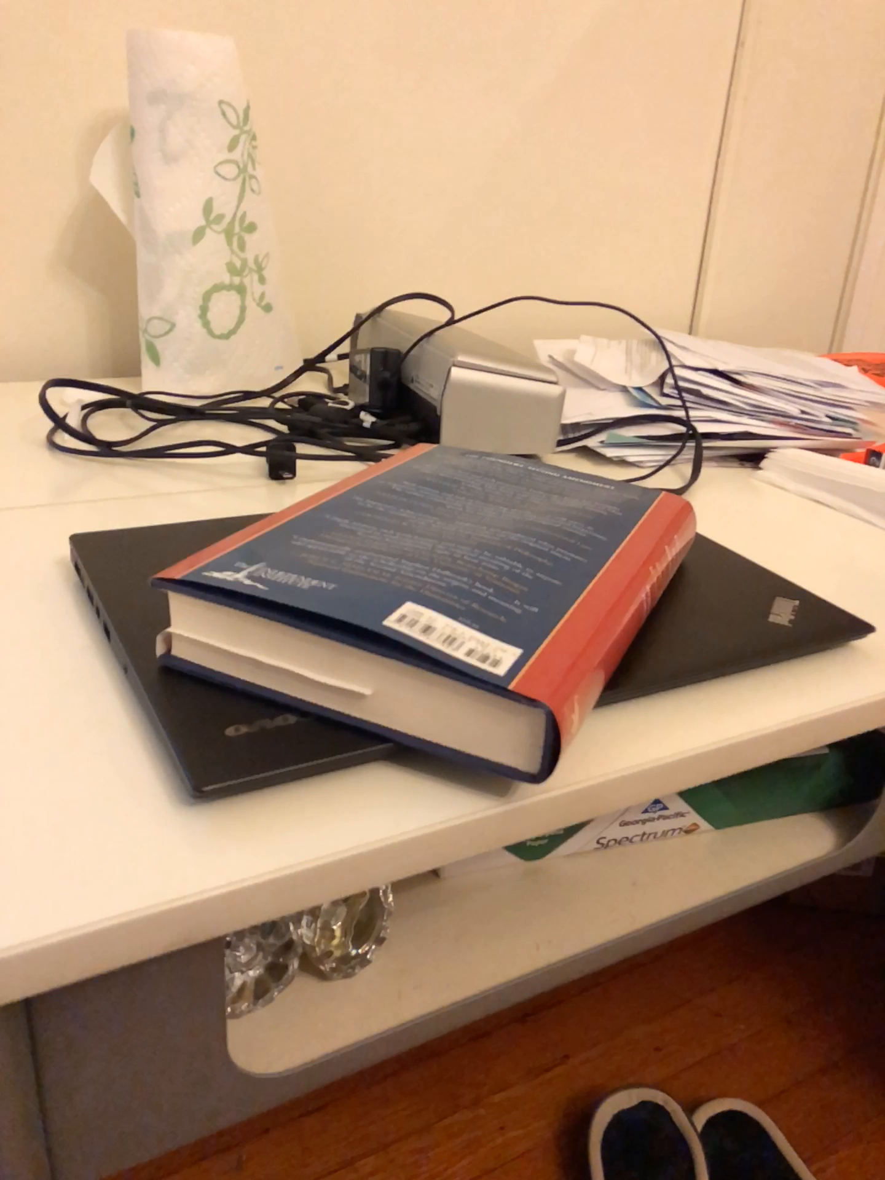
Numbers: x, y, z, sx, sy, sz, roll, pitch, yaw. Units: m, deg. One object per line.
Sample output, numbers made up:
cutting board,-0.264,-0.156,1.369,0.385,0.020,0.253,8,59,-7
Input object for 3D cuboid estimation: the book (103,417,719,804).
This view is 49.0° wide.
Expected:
book,0.009,-0.016,0.414,0.170,0.040,0.241,12,27,21
